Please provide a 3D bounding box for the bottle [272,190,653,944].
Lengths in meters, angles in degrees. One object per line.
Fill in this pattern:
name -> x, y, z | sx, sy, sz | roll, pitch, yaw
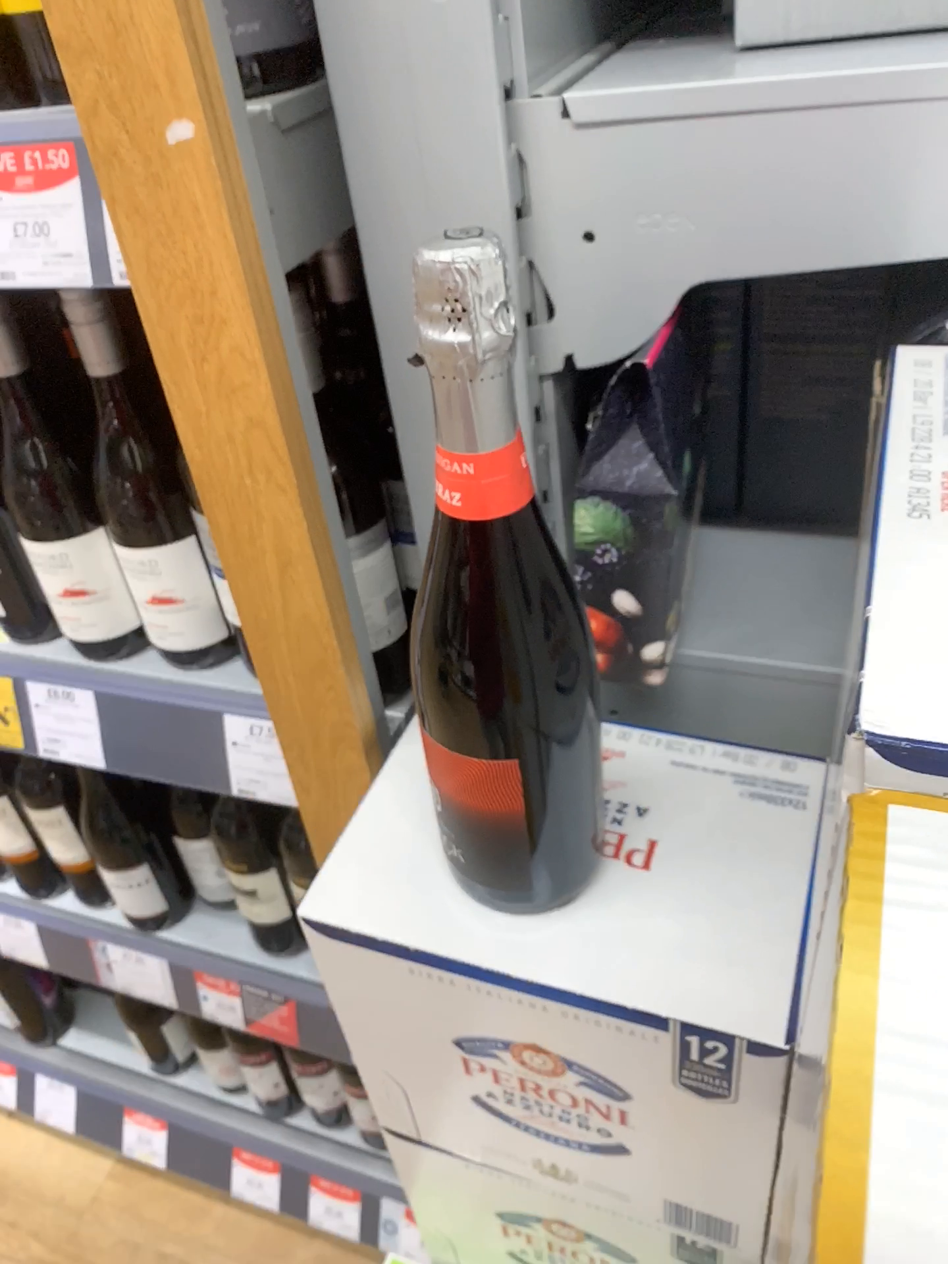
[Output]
bottle -> 0.008, -0.012, 0.406 | 0.094, 0.289, 0.091 | -6, 37, 4
